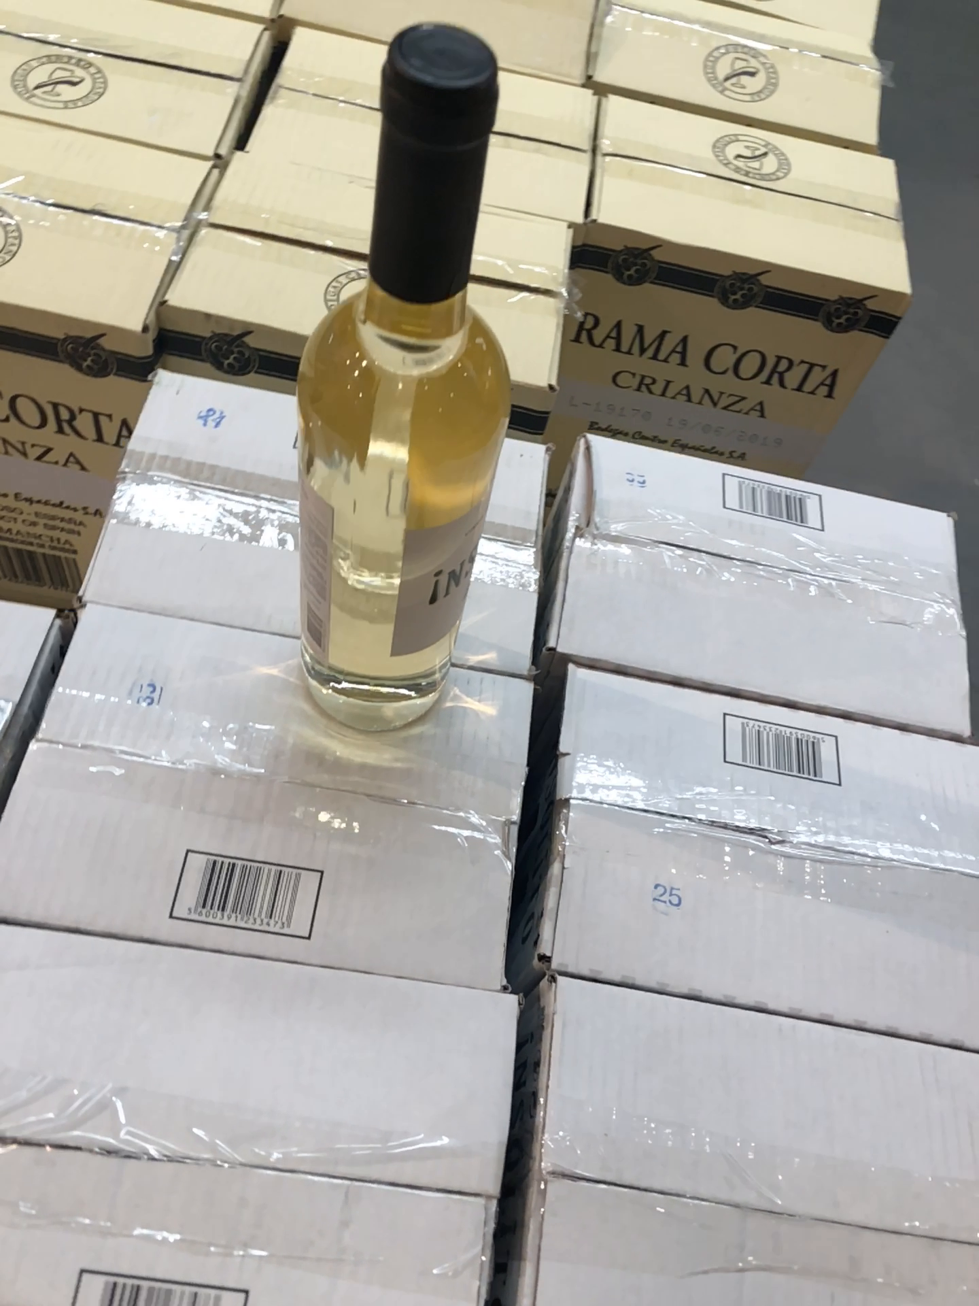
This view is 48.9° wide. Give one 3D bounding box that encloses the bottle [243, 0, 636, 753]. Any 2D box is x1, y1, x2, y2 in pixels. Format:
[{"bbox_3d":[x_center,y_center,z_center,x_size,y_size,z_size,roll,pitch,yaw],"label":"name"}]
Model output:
[{"bbox_3d":[-0.035,-0.073,0.394,0.090,0.298,0.090,5,58,-8],"label":"bottle"}]
